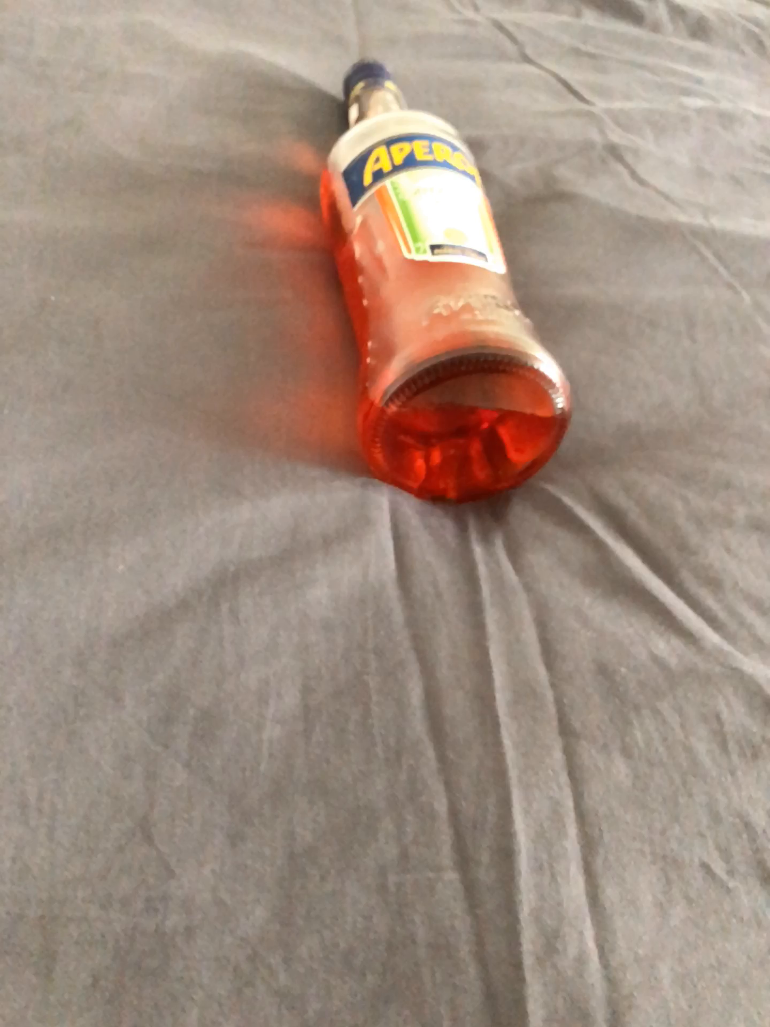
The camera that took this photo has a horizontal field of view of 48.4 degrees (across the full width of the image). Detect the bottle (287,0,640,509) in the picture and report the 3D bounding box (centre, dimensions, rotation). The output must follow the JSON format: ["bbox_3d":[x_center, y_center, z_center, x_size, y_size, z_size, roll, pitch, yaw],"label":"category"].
[{"bbox_3d":[0.013,-0.146,0.407,0.100,0.070,0.322,1,48,-11],"label":"bottle"}]
